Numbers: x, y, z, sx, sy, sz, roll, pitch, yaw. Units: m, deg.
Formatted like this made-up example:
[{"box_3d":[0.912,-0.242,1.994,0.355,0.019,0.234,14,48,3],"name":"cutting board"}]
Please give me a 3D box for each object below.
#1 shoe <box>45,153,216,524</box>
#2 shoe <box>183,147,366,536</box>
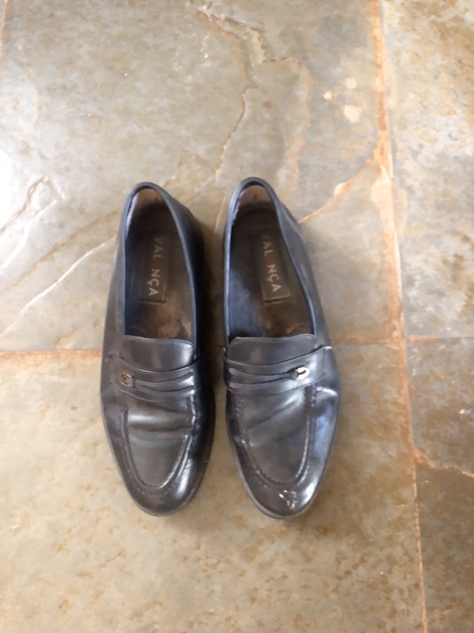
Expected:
[{"box_3d":[-0.073,0.017,0.418,0.100,0.100,0.260,-2,78,5],"name":"shoe"},{"box_3d":[0.025,0.018,0.409,0.100,0.100,0.260,-6,78,5],"name":"shoe"}]
